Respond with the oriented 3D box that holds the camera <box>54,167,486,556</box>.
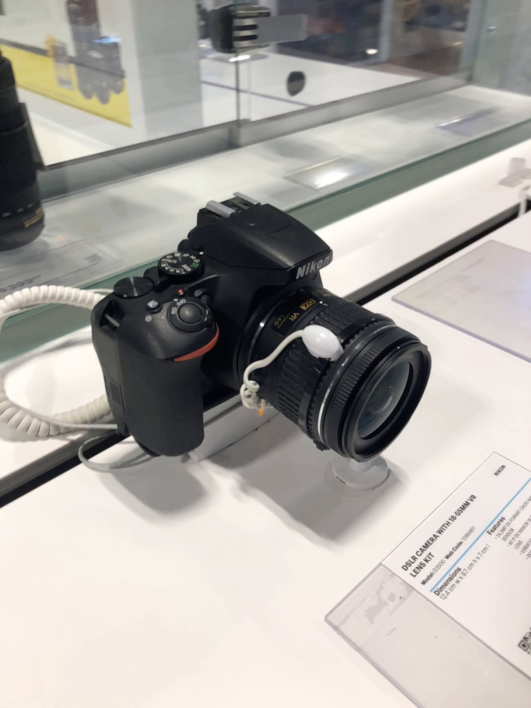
[{"bbox_3d":[0.003,-0.013,0.276,0.131,0.089,0.131,29,46,35],"label":"camera"}]
